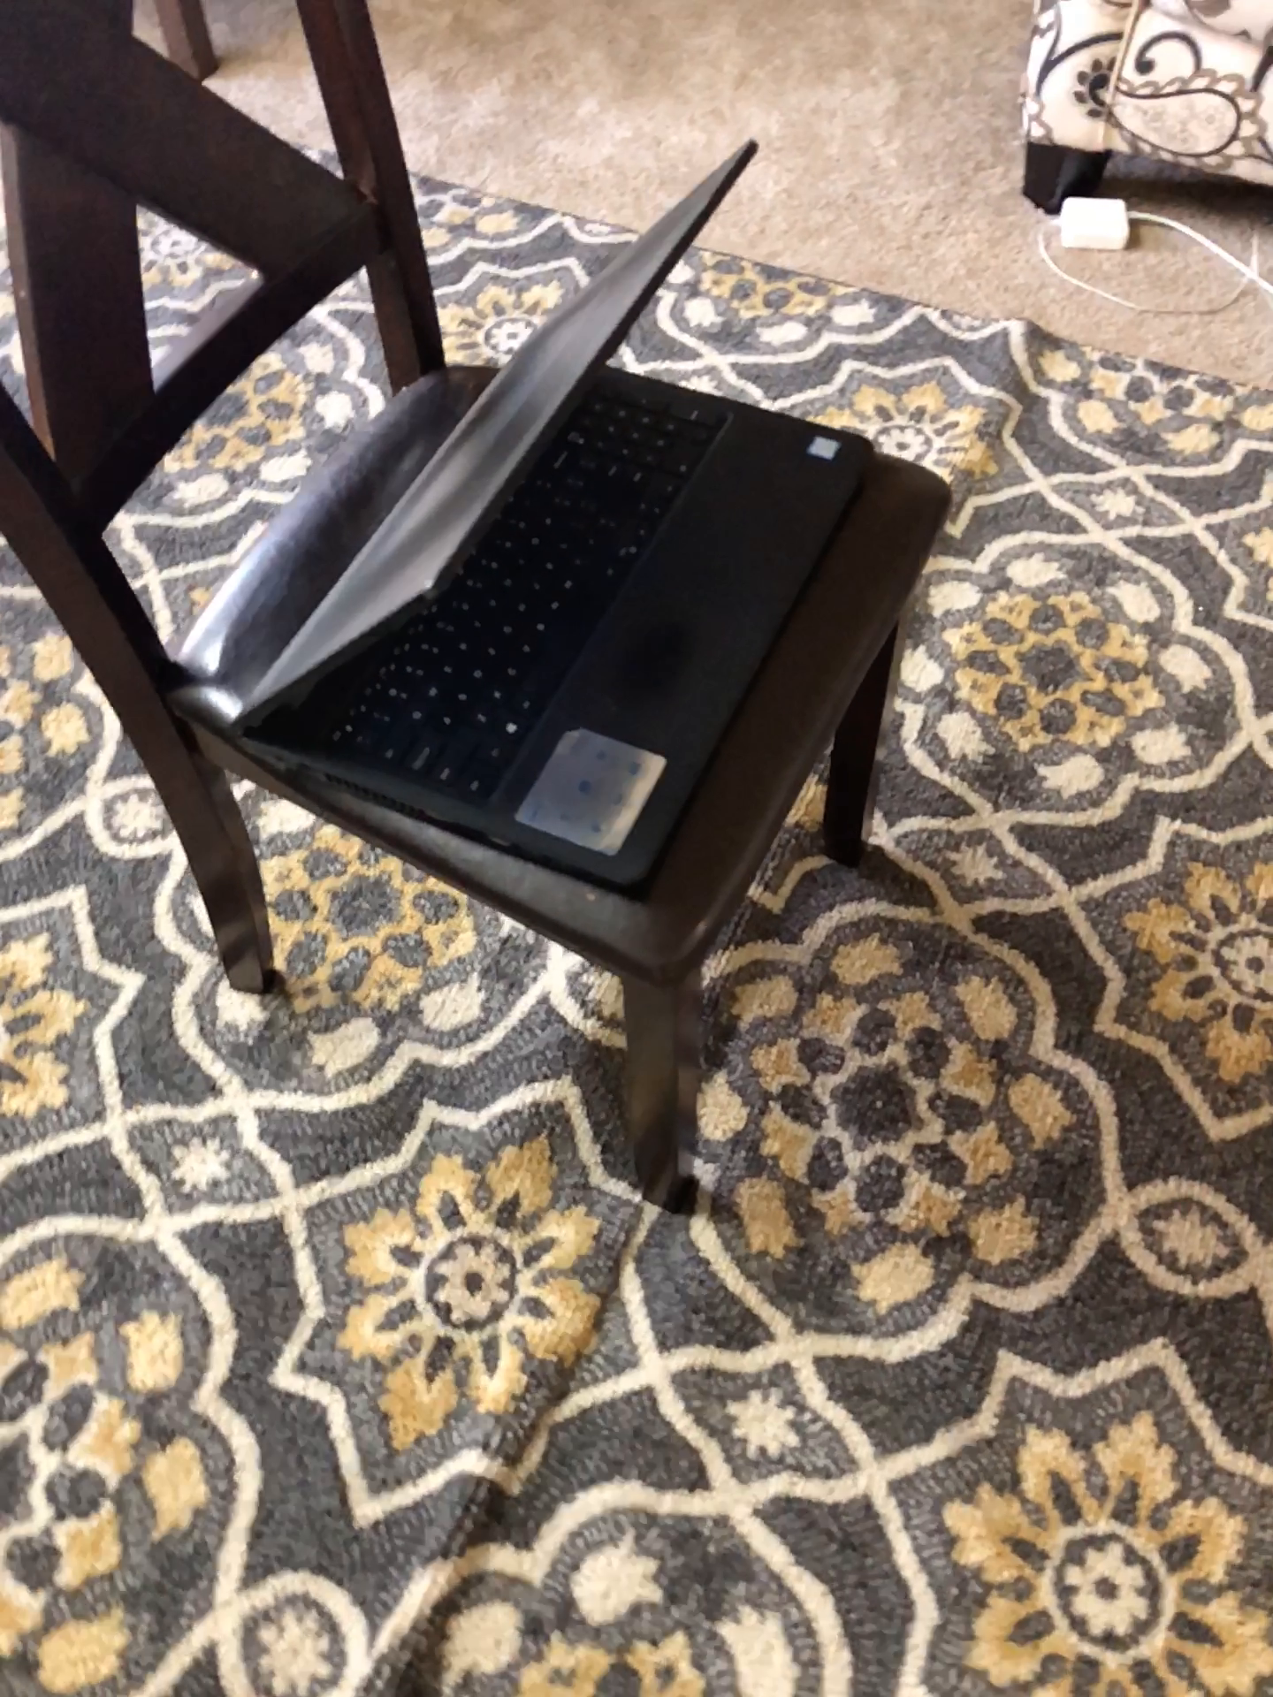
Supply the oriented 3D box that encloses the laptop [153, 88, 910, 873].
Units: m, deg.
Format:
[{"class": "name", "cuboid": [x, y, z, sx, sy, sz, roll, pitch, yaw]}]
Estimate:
[{"class": "laptop", "cuboid": [-0.033, -0.218, 0.775, 0.245, 0.186, 0.366, 19, 58, 14]}]
